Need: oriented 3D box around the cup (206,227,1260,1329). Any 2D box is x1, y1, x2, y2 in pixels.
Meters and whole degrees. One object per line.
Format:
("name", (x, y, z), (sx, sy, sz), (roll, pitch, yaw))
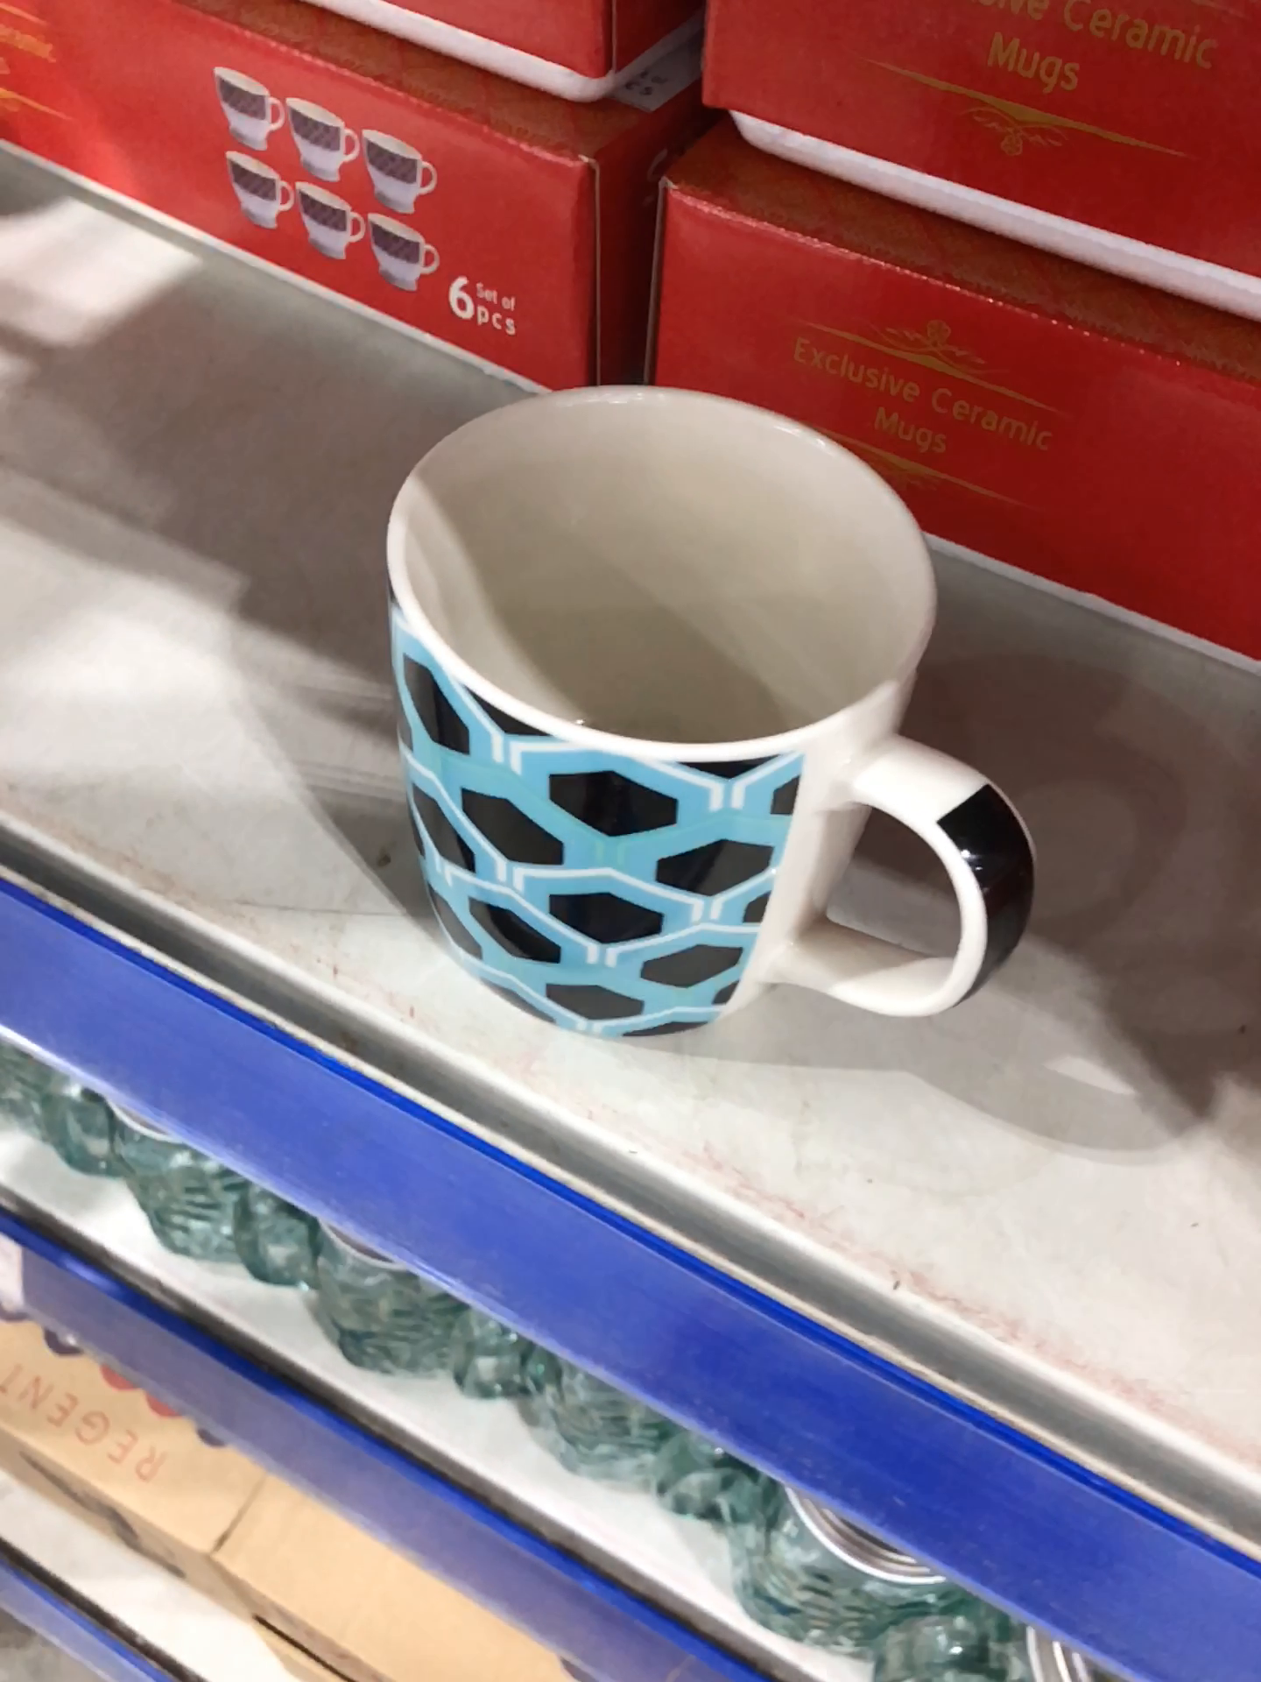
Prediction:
("cup", (0.017, -0.014, 0.265), (0.130, 0.120, 0.110), (36, 57, 23))
